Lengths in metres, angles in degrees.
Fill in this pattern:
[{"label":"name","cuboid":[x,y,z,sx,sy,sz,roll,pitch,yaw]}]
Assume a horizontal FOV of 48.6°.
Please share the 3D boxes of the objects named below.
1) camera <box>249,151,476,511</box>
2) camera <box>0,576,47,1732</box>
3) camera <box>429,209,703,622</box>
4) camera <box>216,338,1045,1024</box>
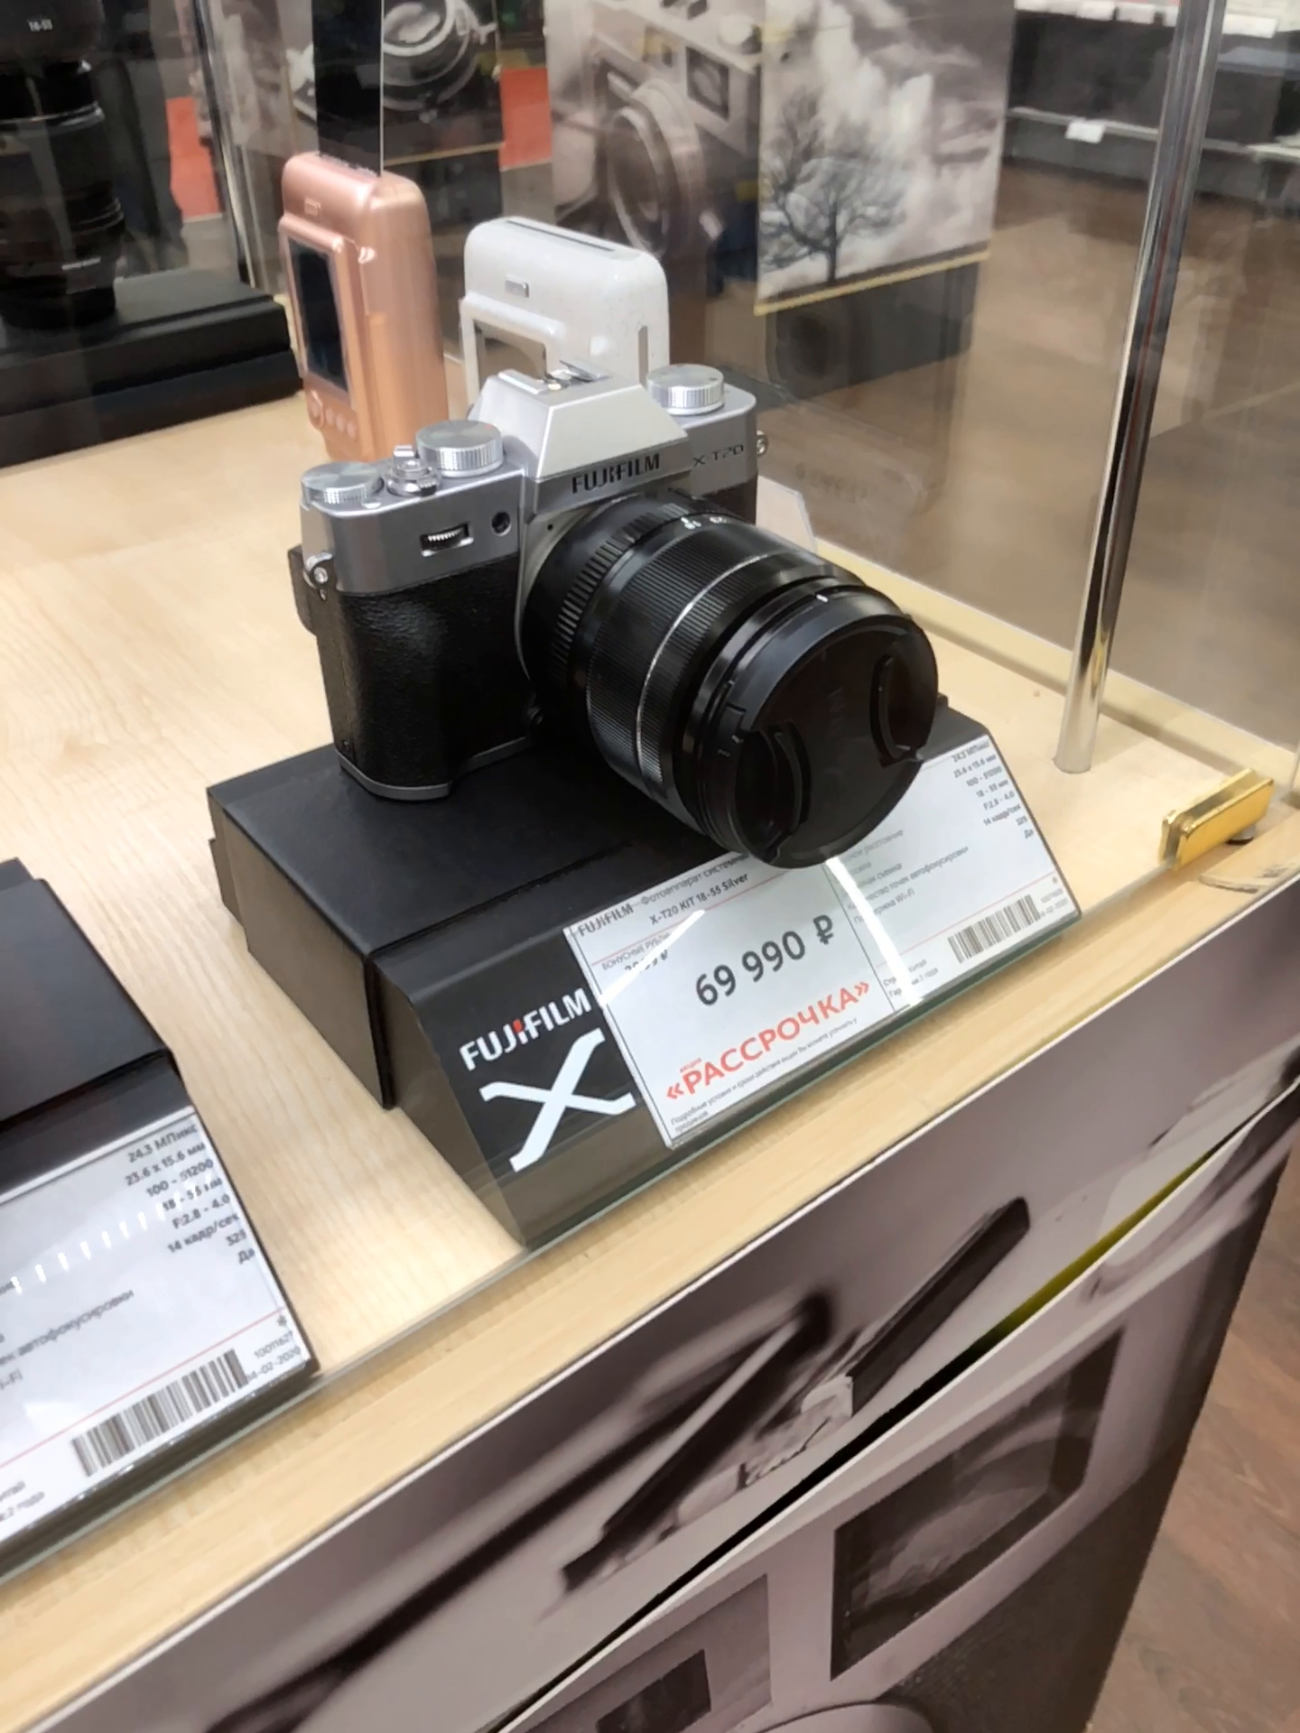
[{"label":"camera","cuboid":[-0.120,-0.225,0.602,0.043,0.117,0.101,-21,40,-26]},{"label":"camera","cuboid":[-0.185,0.029,0.224,0.124,0.080,0.130,-23,41,-28]},{"label":"camera","cuboid":[-0.028,-0.155,0.492,0.039,0.110,0.094,-26,43,-31]},{"label":"camera","cuboid":[-0.008,-0.054,0.327,0.124,0.080,0.130,-23,41,-28]}]
